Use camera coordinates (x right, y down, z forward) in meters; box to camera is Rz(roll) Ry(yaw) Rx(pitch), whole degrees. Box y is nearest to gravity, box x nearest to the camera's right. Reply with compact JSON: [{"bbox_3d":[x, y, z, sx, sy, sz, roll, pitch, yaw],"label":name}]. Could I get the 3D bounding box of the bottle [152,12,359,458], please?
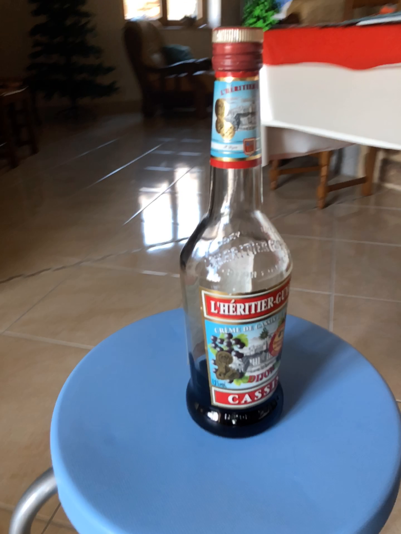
[{"bbox_3d":[0.030,-0.014,0.326,0.090,0.298,0.090,-1,26,1],"label":"bottle"}]
